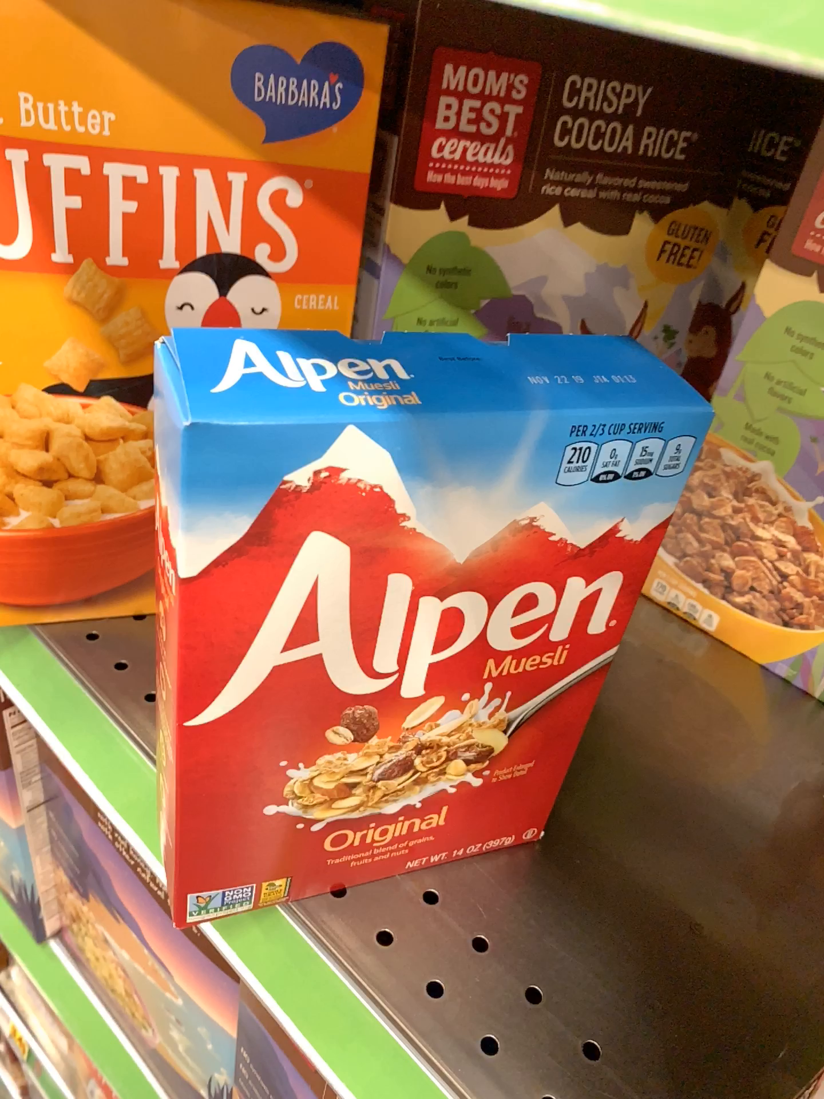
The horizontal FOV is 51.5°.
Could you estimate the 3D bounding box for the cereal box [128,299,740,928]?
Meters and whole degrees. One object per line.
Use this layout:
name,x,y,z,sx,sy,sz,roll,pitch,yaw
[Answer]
cereal box,-0.006,0.029,0.283,0.160,0.209,0.040,-5,38,-22
